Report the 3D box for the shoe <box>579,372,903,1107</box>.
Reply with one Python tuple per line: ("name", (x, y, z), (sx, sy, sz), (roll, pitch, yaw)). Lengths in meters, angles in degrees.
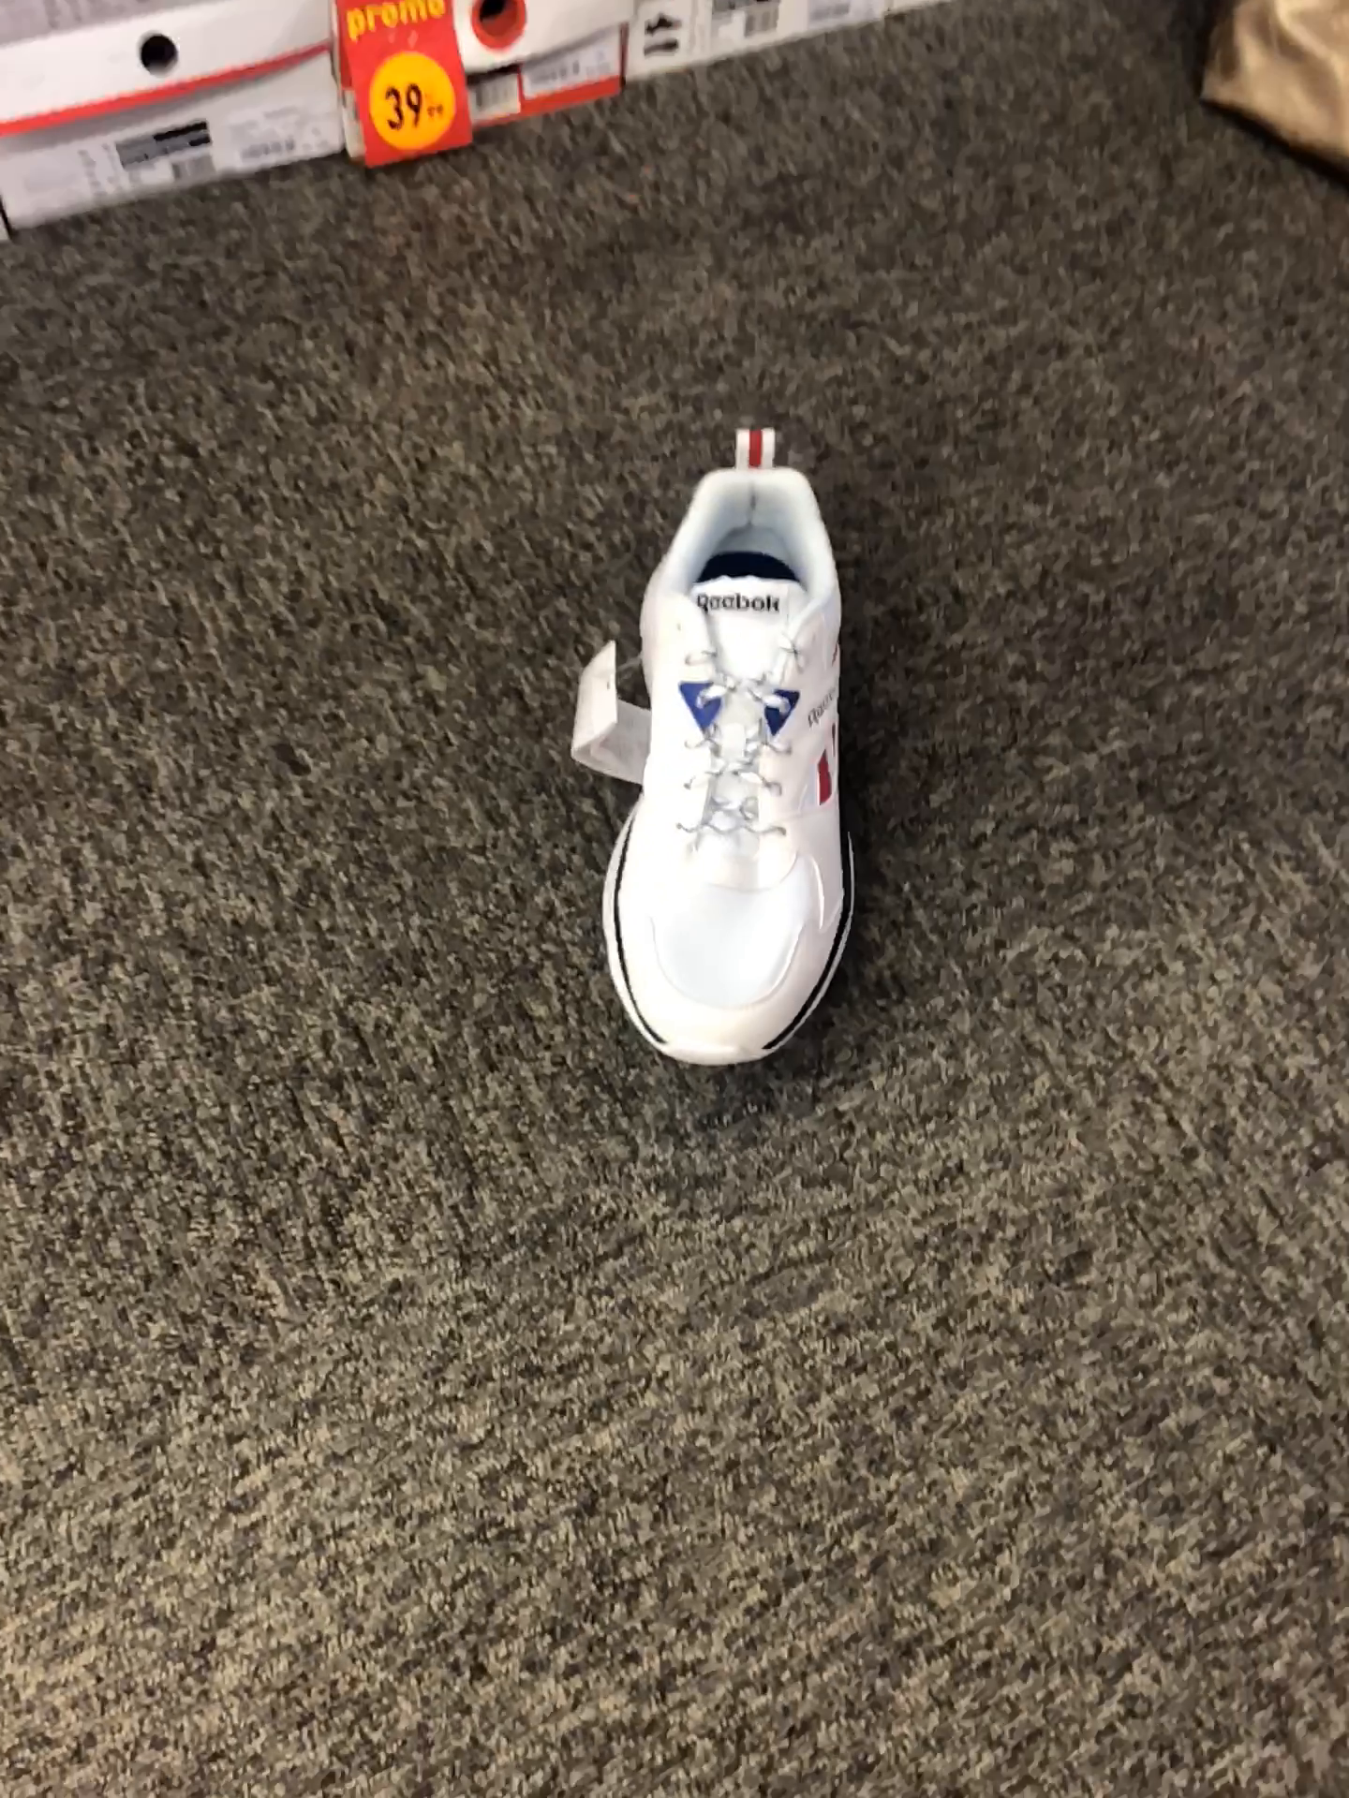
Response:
("shoe", (0.028, -0.074, 0.651), (0.113, 0.110, 0.301), (5, 63, -4))
